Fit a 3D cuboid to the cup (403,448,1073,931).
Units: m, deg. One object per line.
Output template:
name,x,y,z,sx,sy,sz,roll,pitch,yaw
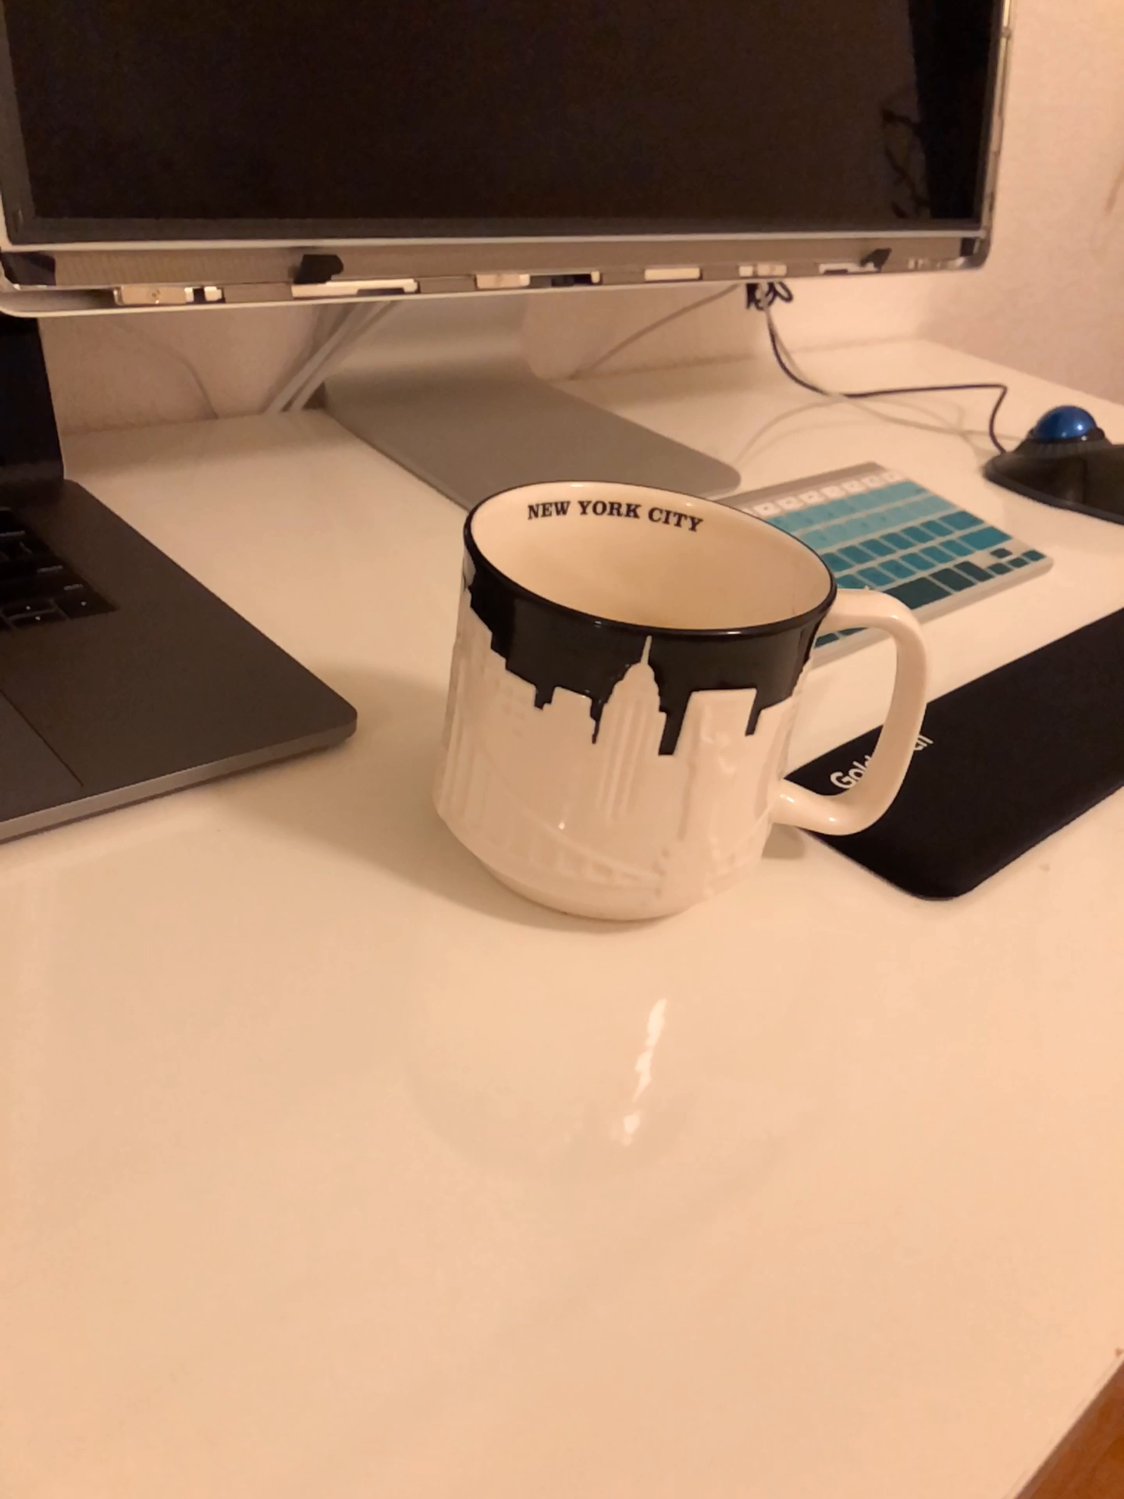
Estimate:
cup,0.039,-0.021,0.362,0.150,0.089,0.111,0,33,-16
